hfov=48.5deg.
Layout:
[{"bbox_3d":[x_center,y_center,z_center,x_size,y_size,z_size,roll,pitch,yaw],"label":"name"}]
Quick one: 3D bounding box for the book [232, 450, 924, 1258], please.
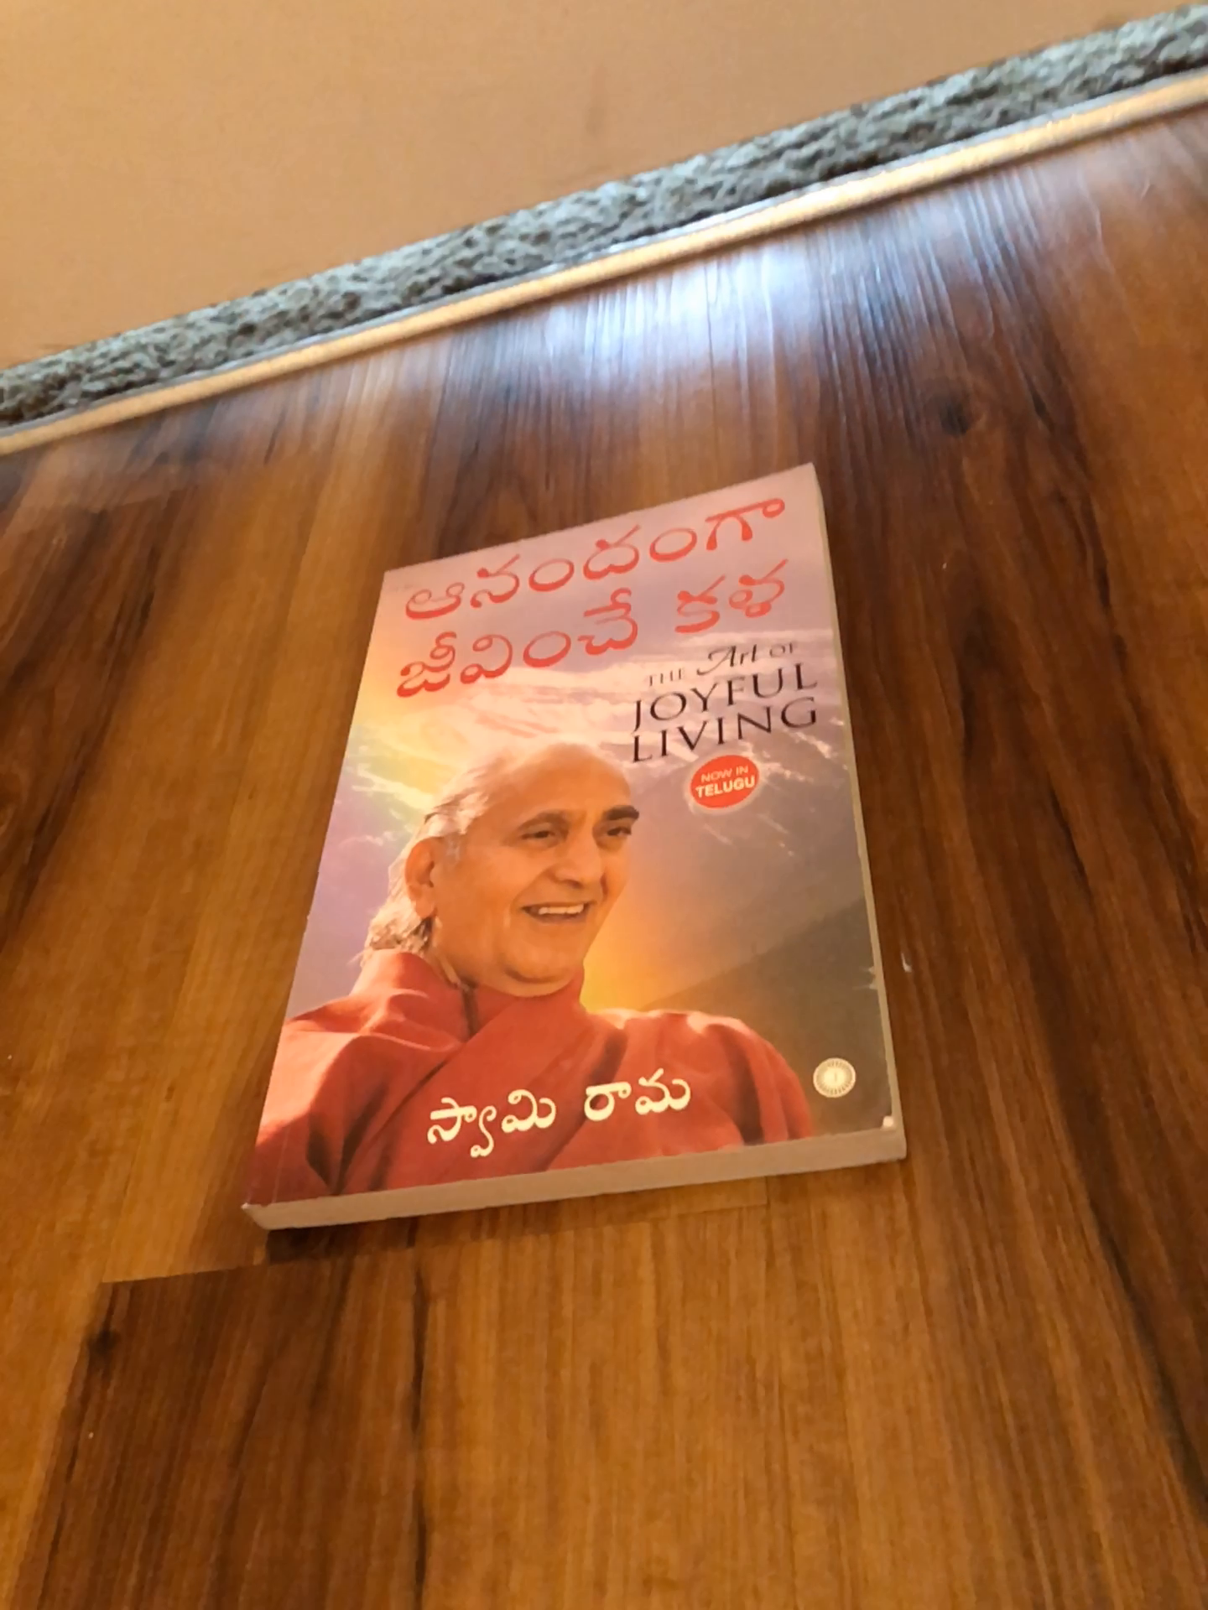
[{"bbox_3d":[-0.006,-0.001,0.348,0.144,0.020,0.220,-11,48,15],"label":"book"}]
